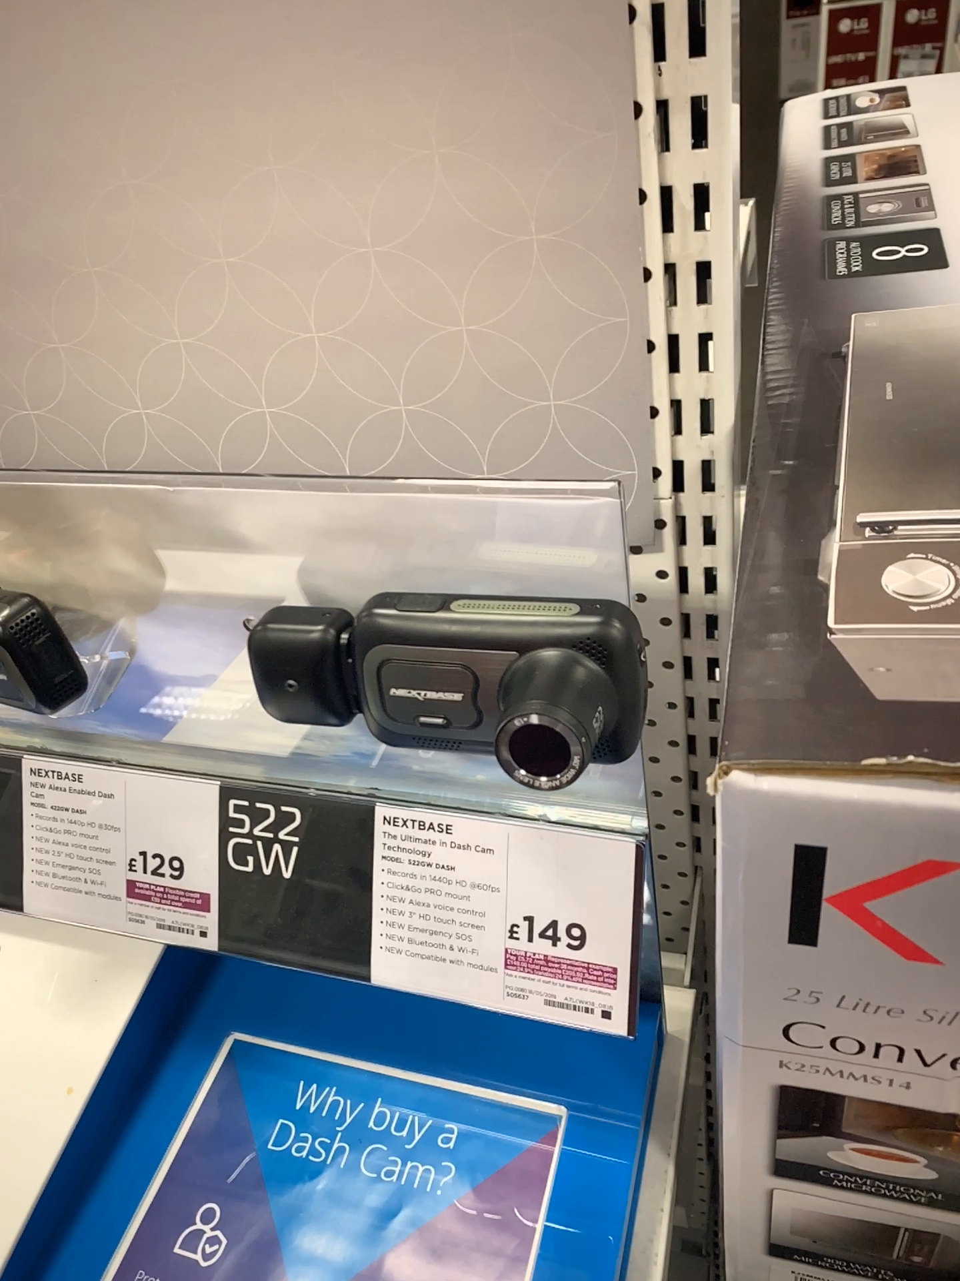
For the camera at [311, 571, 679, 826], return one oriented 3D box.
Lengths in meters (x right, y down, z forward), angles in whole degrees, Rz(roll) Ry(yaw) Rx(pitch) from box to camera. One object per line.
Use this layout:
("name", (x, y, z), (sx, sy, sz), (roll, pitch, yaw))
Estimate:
("camera", (0.009, 0.015, 0.313), (0.100, 0.050, 0.061), (1, 36, 16))
